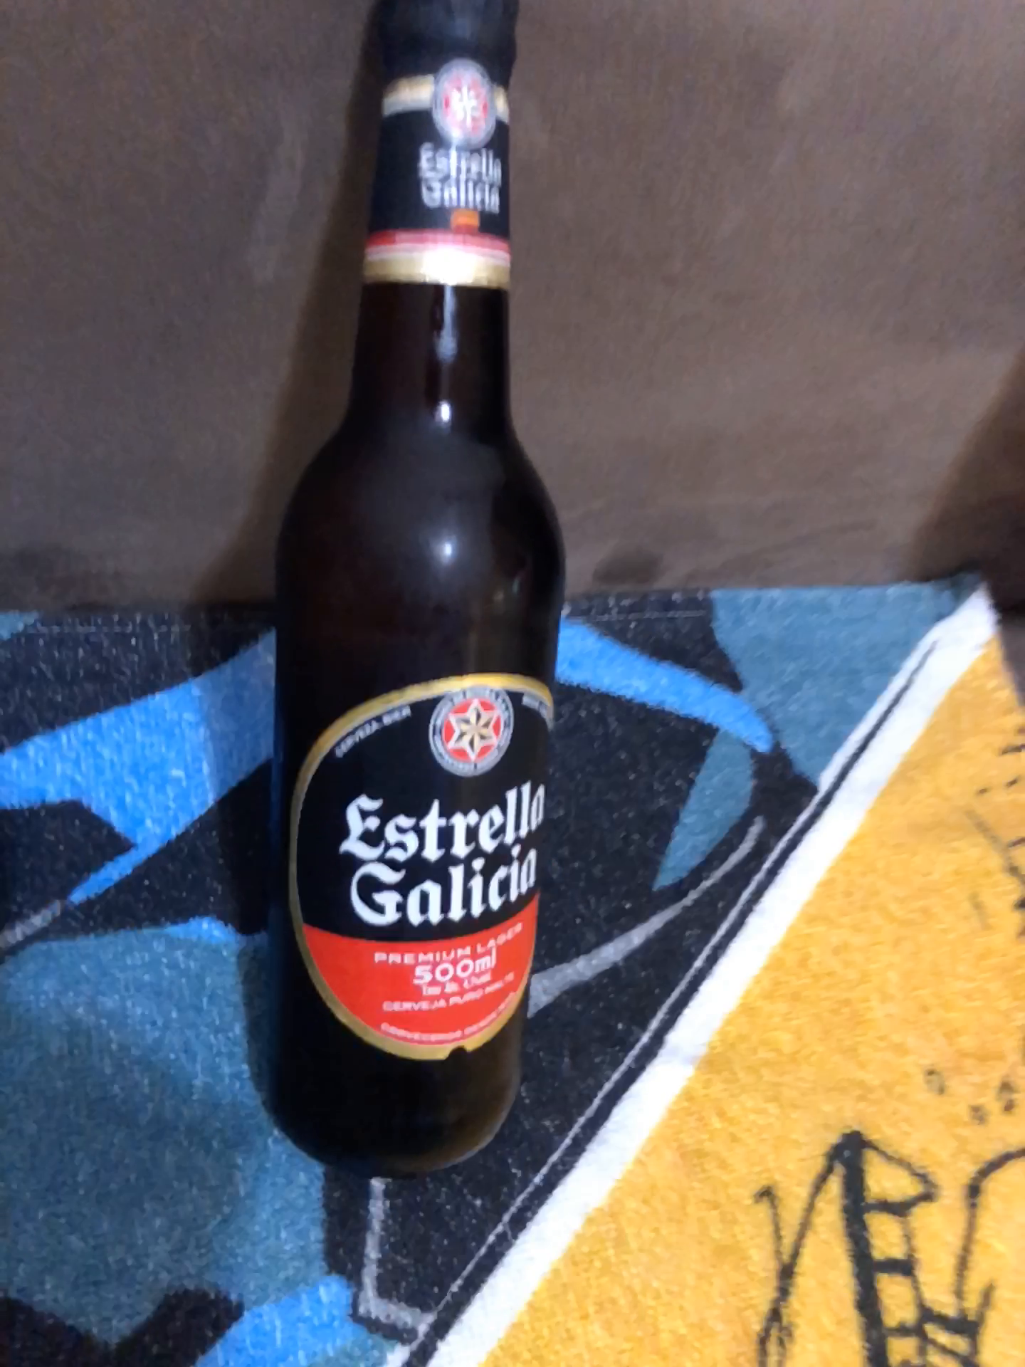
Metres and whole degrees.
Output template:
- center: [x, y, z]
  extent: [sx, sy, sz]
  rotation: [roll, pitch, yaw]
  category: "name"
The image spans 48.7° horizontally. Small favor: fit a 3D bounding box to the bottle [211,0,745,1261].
- center: [-0.020, -0.020, 0.260]
  extent: [0.080, 0.269, 0.080]
  rotation: [4, 14, -1]
  category: "bottle"
